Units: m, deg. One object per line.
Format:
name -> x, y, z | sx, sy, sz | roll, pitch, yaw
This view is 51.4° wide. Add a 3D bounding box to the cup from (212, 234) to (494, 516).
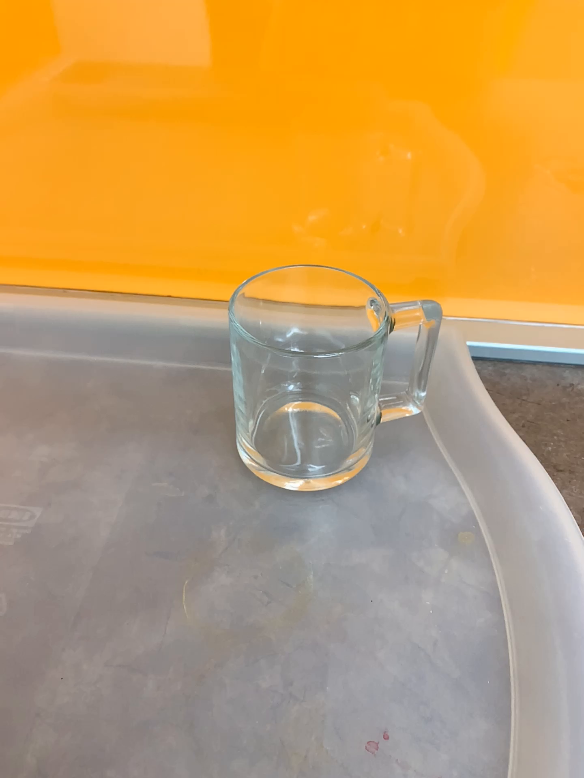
cup -> 0.021, -0.008, 0.309 | 0.109, 0.104, 0.082 | -7, 44, -11
